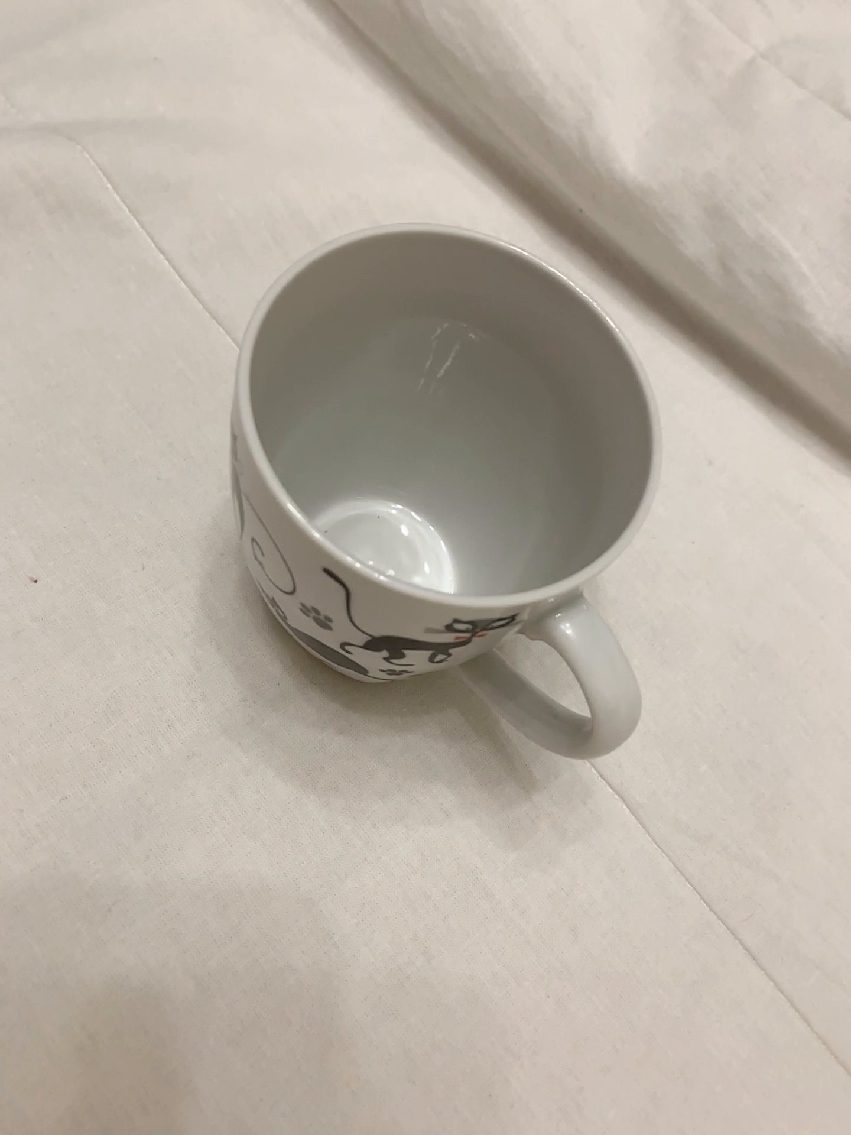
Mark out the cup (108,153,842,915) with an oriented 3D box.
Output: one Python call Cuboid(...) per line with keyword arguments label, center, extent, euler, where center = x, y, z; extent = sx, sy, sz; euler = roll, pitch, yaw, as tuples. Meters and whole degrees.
Cuboid(label="cup", center=(0.000, -0.005, 0.186), extent=(0.081, 0.077, 0.119), euler=(-24, 73, -21))
